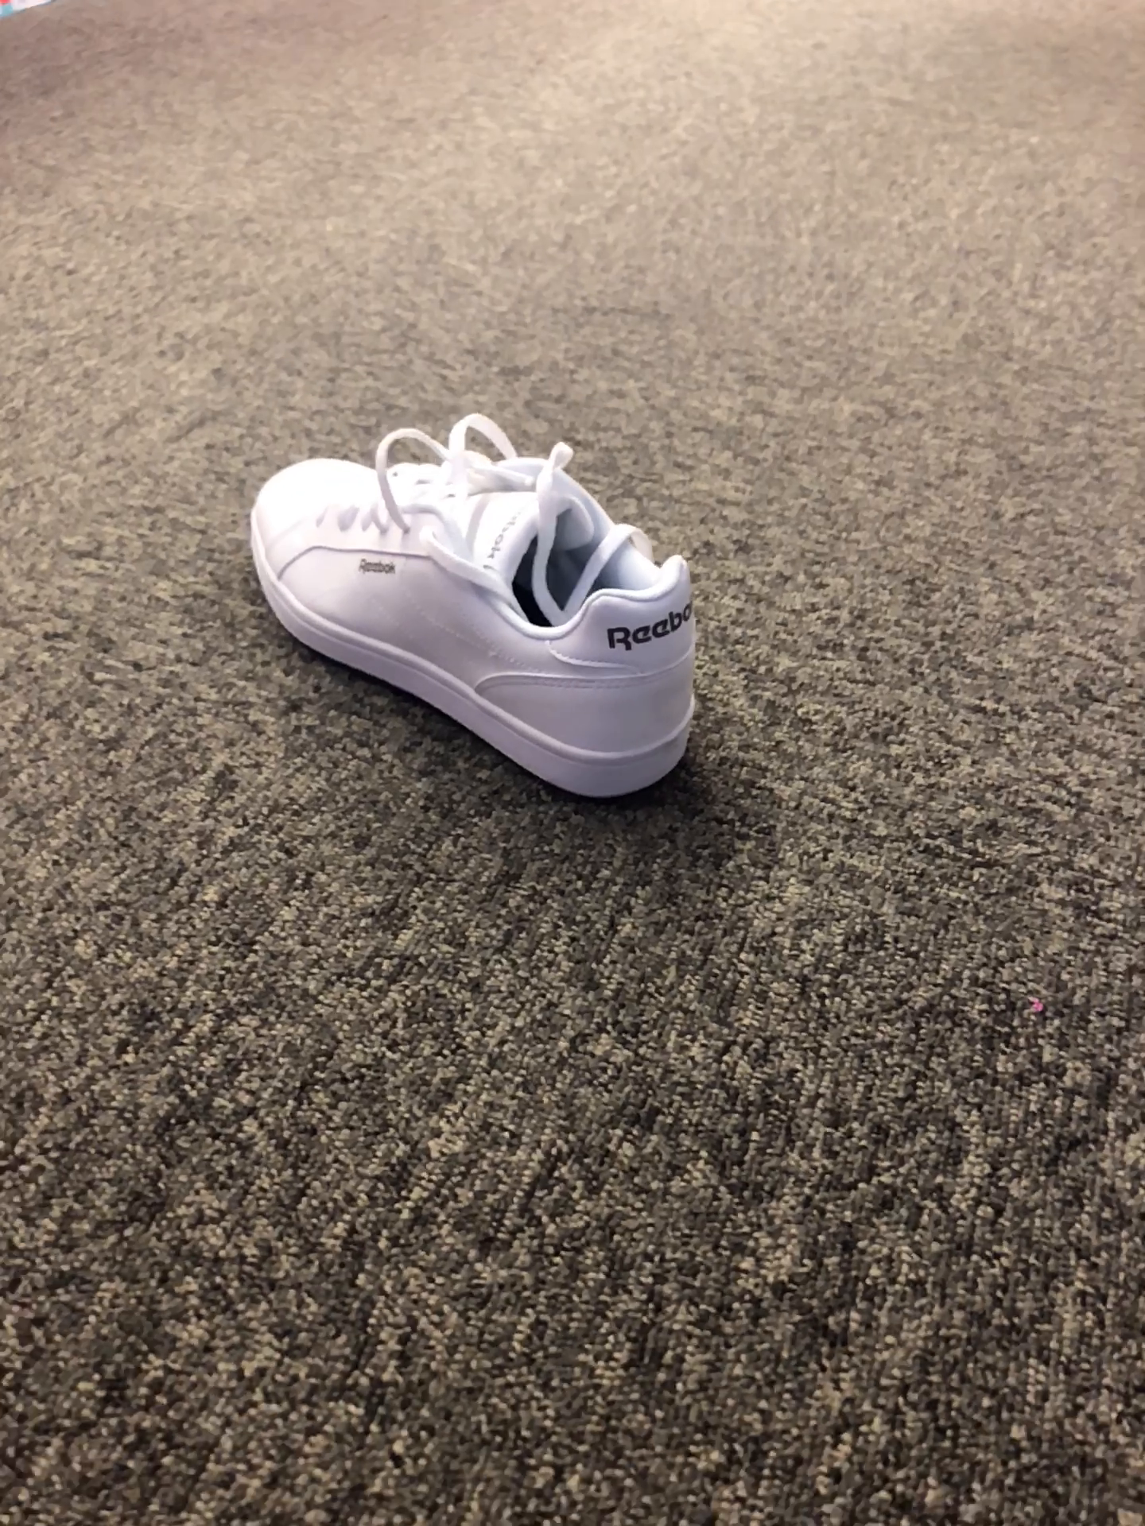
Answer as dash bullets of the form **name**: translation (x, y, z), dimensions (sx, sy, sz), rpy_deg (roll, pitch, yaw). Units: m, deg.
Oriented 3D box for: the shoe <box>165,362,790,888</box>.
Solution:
- **shoe**: translation (-0.047, -0.072, 0.514), dimensions (0.100, 0.099, 0.260), rpy_deg (-30, 44, -31)
